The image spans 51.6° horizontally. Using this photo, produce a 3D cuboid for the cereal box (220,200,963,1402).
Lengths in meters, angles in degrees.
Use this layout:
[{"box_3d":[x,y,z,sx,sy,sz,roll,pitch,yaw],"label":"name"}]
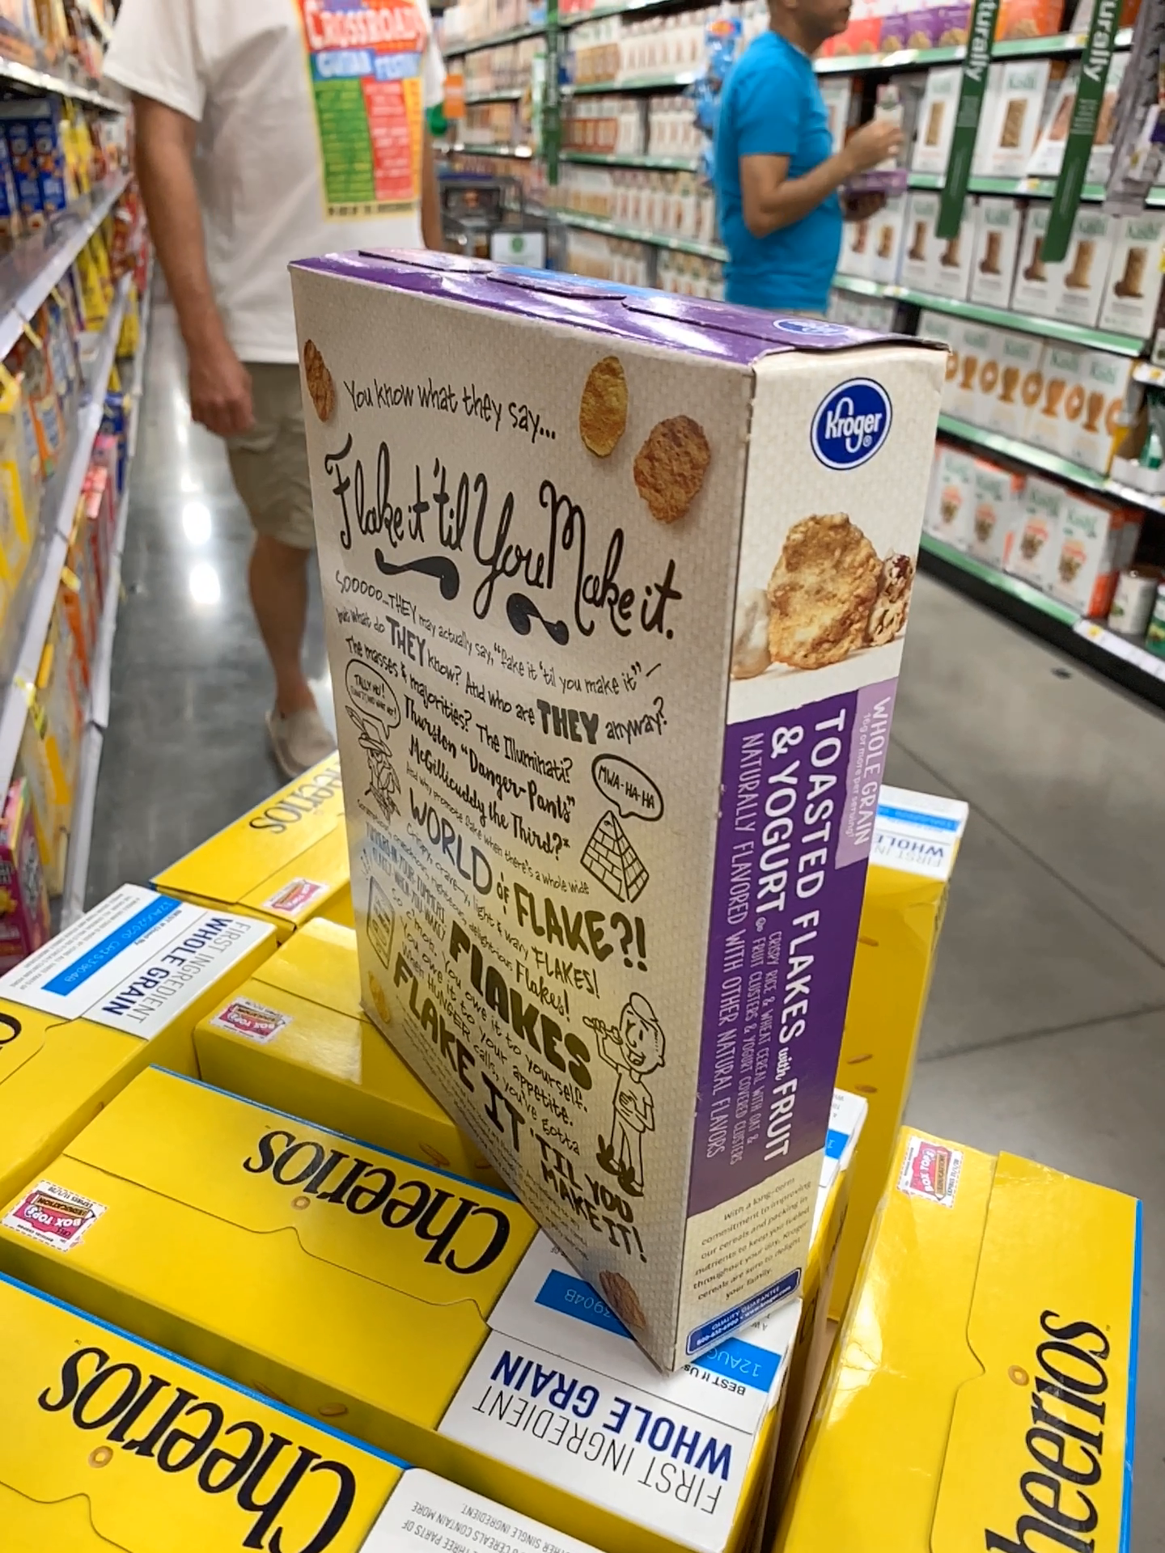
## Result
[{"box_3d":[-0.017,-0.006,0.334,0.060,0.269,0.201,-18,33,-32],"label":"cereal box"}]
